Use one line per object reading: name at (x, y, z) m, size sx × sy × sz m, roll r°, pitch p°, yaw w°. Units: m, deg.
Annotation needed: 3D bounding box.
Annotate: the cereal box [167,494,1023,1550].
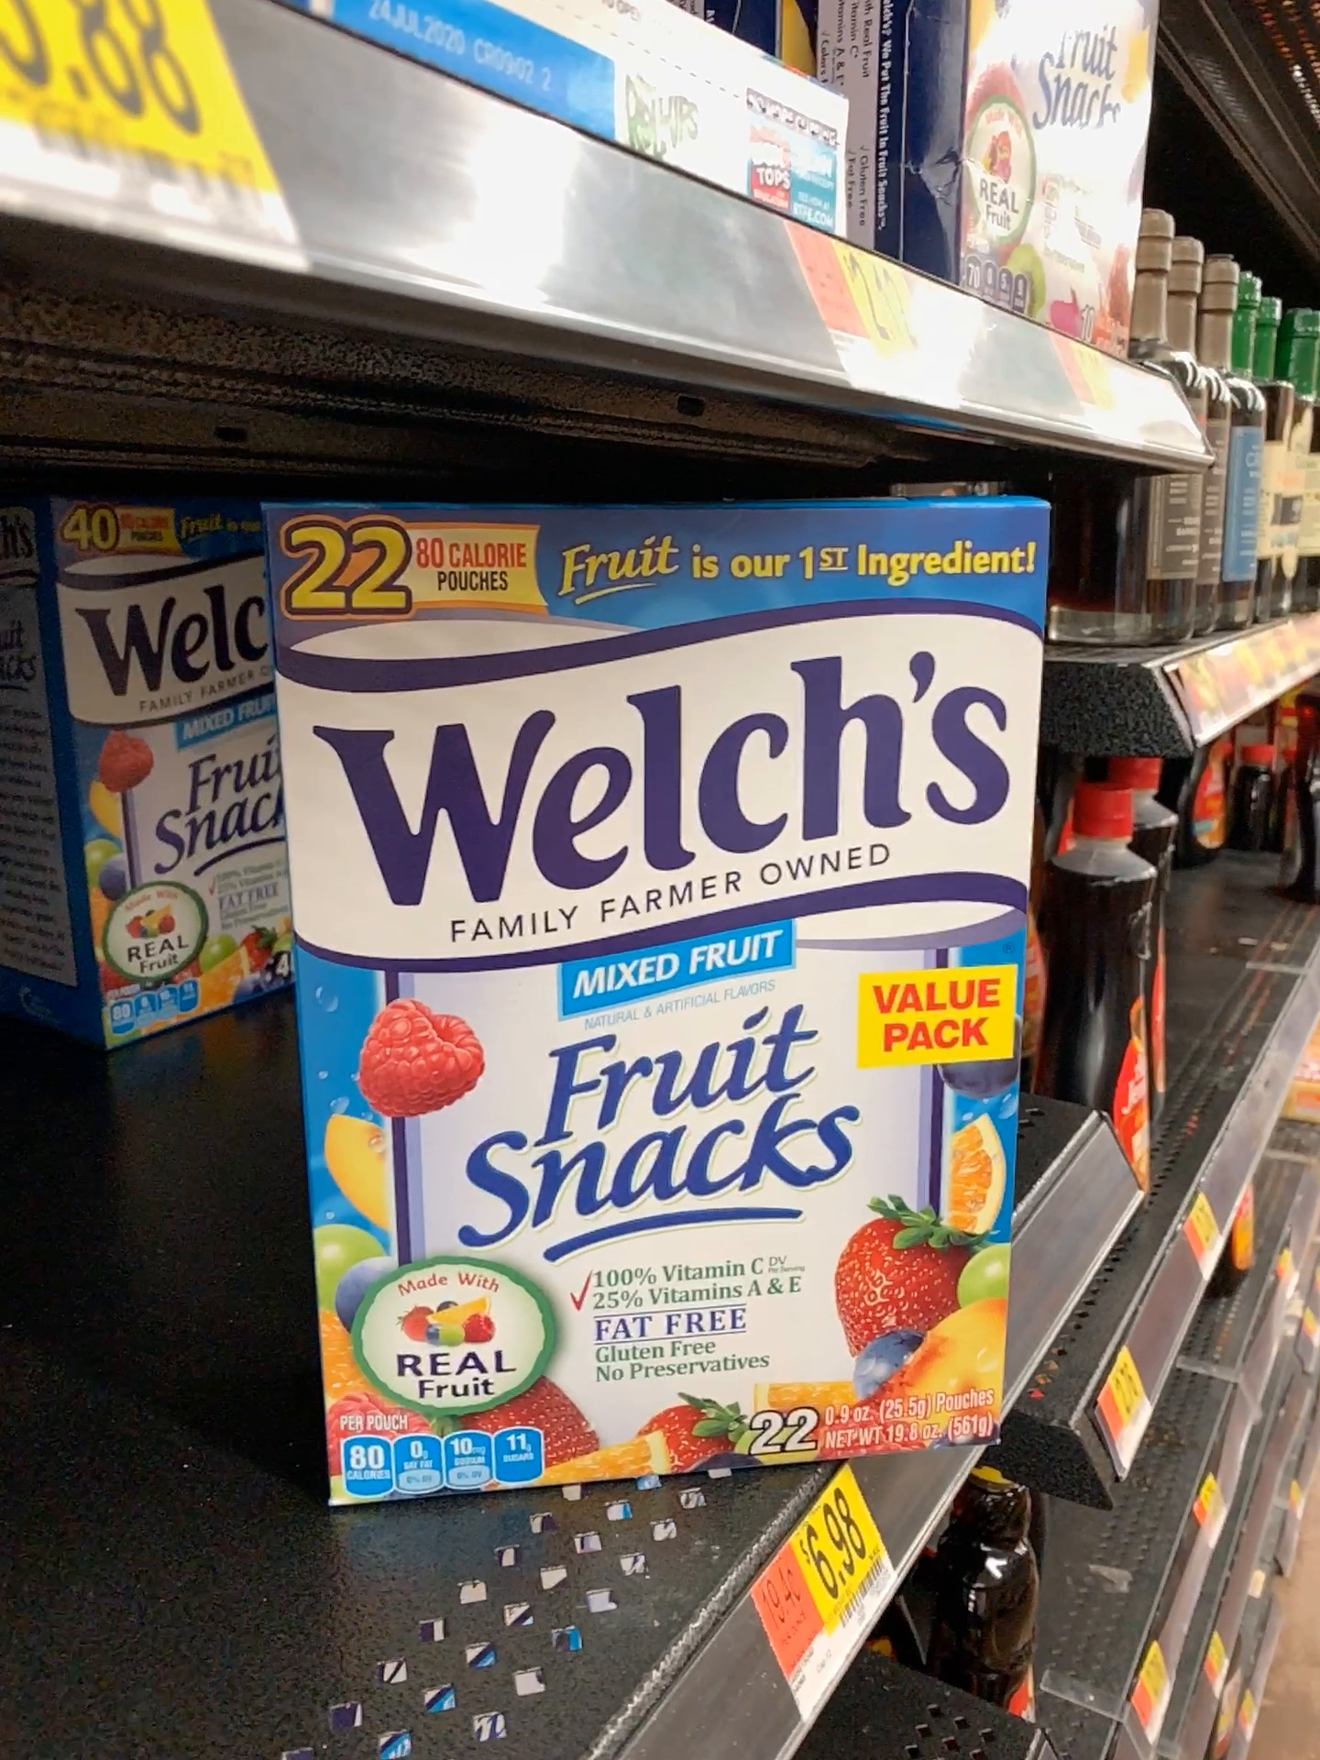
cereal box at (-0.011, 0.030, 0.325) m, size 0.170 × 0.229 × 0.060 m, roll -3°, pitch 13°, yaw -7°
